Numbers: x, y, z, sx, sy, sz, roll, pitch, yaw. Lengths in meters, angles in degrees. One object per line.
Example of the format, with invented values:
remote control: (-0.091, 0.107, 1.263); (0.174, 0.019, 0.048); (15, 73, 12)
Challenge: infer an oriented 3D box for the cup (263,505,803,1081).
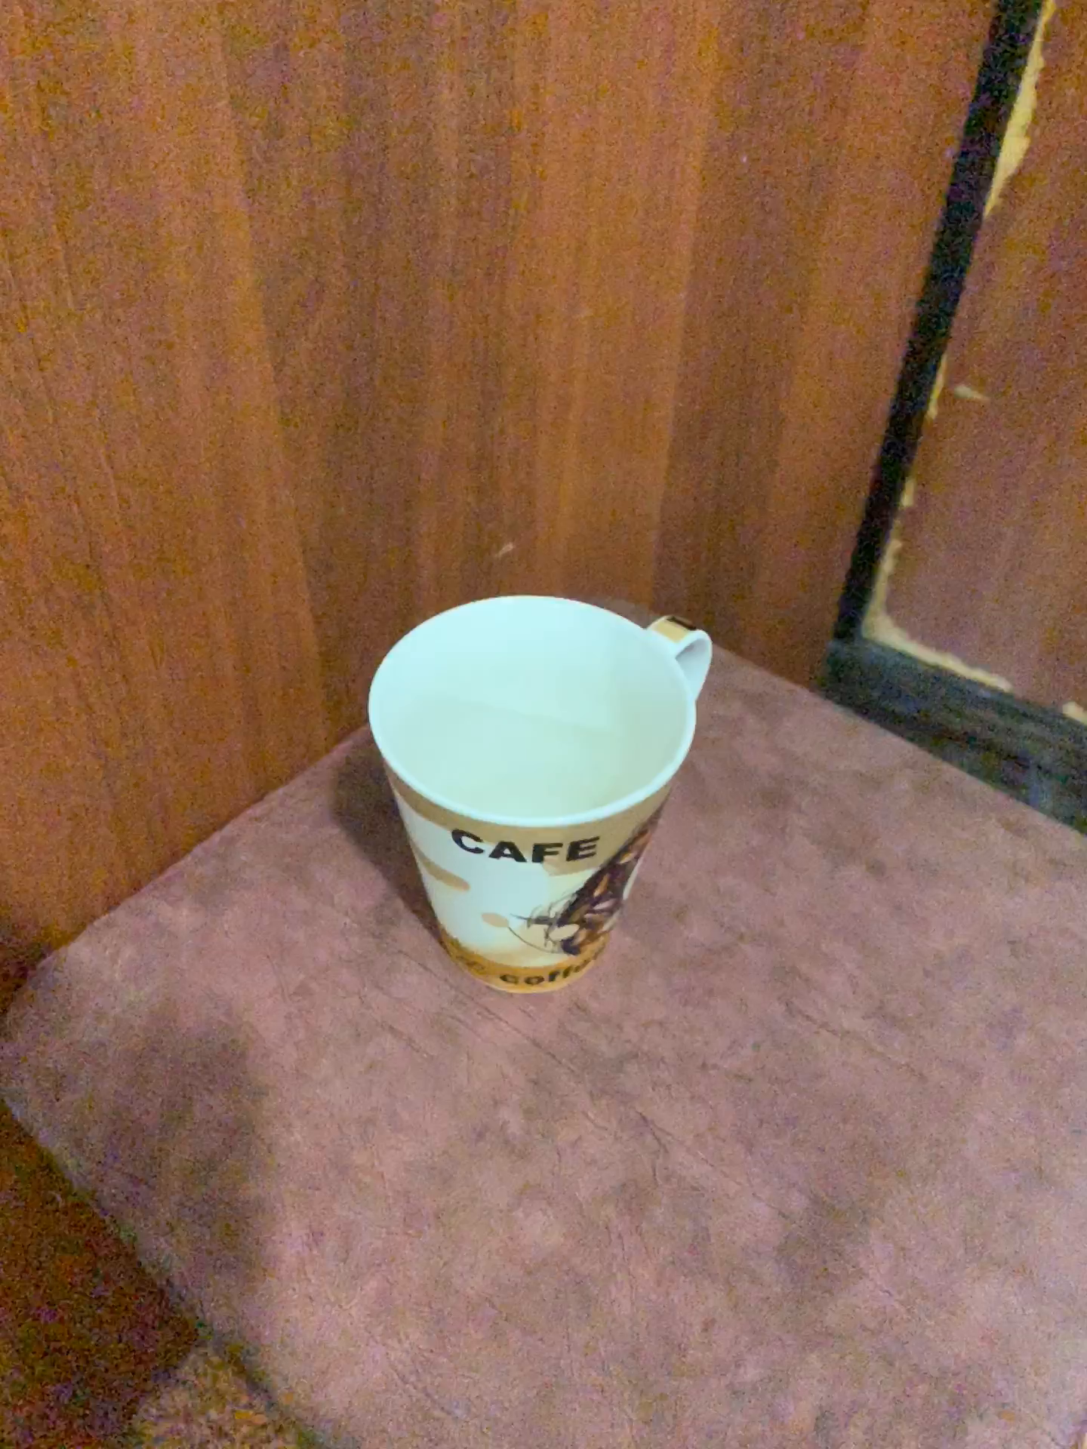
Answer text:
cup: (-0.001, 0.015, 0.343); (0.095, 0.091, 0.120); (31, 51, 26)
